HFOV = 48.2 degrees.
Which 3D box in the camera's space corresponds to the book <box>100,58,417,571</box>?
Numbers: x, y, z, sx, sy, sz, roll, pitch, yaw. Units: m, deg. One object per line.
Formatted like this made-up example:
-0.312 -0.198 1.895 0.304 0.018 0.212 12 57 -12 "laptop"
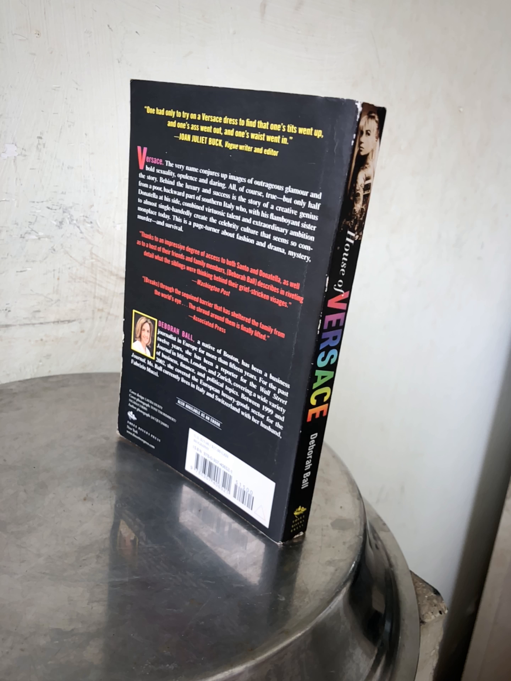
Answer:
-0.021 -0.025 0.312 0.040 0.219 0.180 -9 22 -42 "book"
